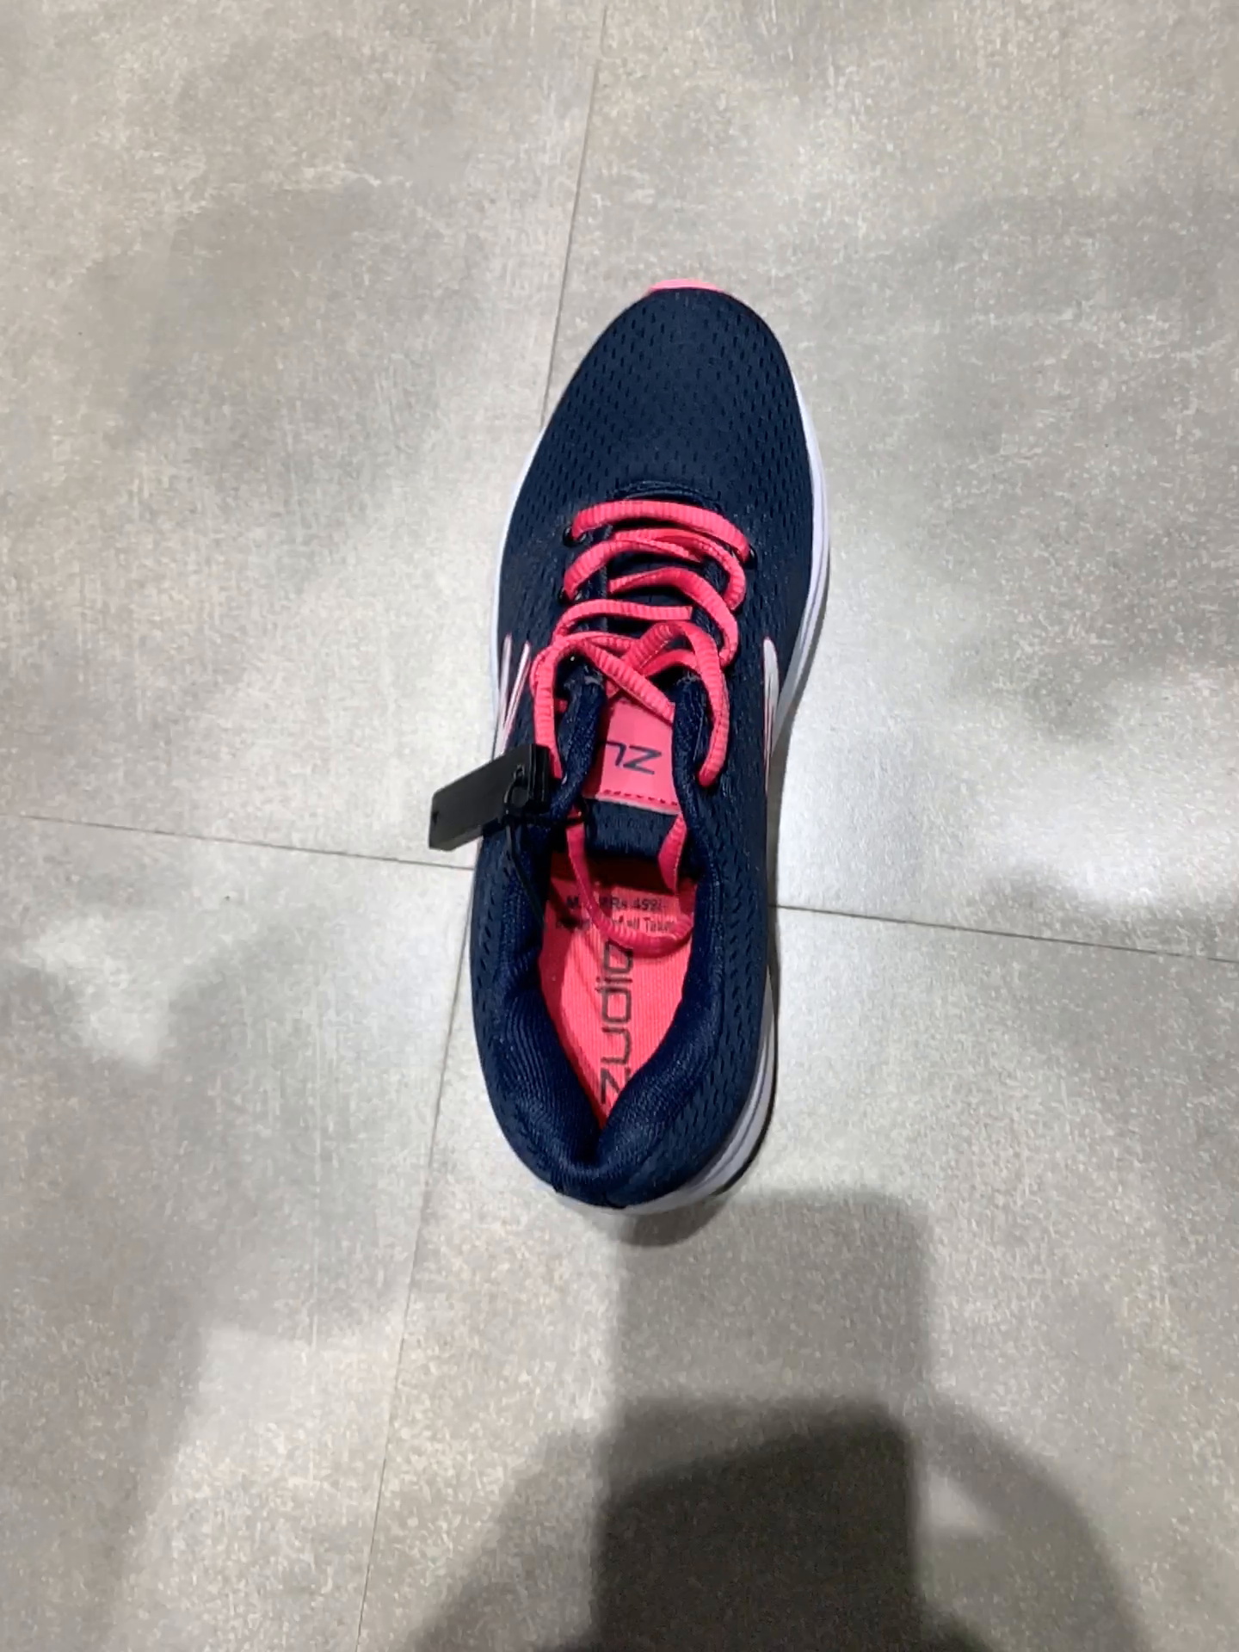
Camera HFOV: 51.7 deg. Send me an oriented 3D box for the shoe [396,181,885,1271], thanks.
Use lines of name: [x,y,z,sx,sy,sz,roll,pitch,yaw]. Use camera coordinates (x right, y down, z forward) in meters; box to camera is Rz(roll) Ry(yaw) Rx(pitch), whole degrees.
shoe: [0.012,-0.025,0.330,0.094,0.090,0.248,3,80,5]
